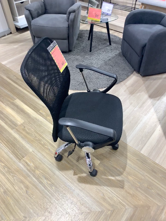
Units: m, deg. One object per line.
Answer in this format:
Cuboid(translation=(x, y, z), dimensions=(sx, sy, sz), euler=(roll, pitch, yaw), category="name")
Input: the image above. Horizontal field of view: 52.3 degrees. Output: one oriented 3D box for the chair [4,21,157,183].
Cuboid(translation=(0.030, -0.031, 1.184), dimensions=(0.600, 0.866, 0.643), euler=(7, 47, 7), category="chair")
